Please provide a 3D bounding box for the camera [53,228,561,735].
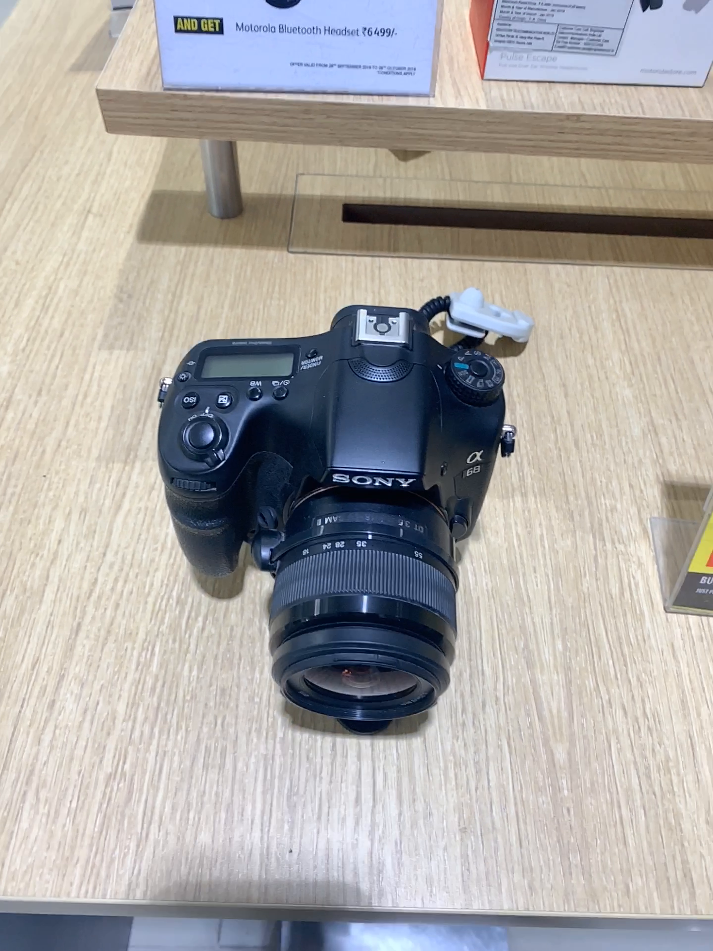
[{"bbox_3d":[-0.010,-0.003,0.288,0.140,0.090,0.170,4,53,1],"label":"camera"}]
